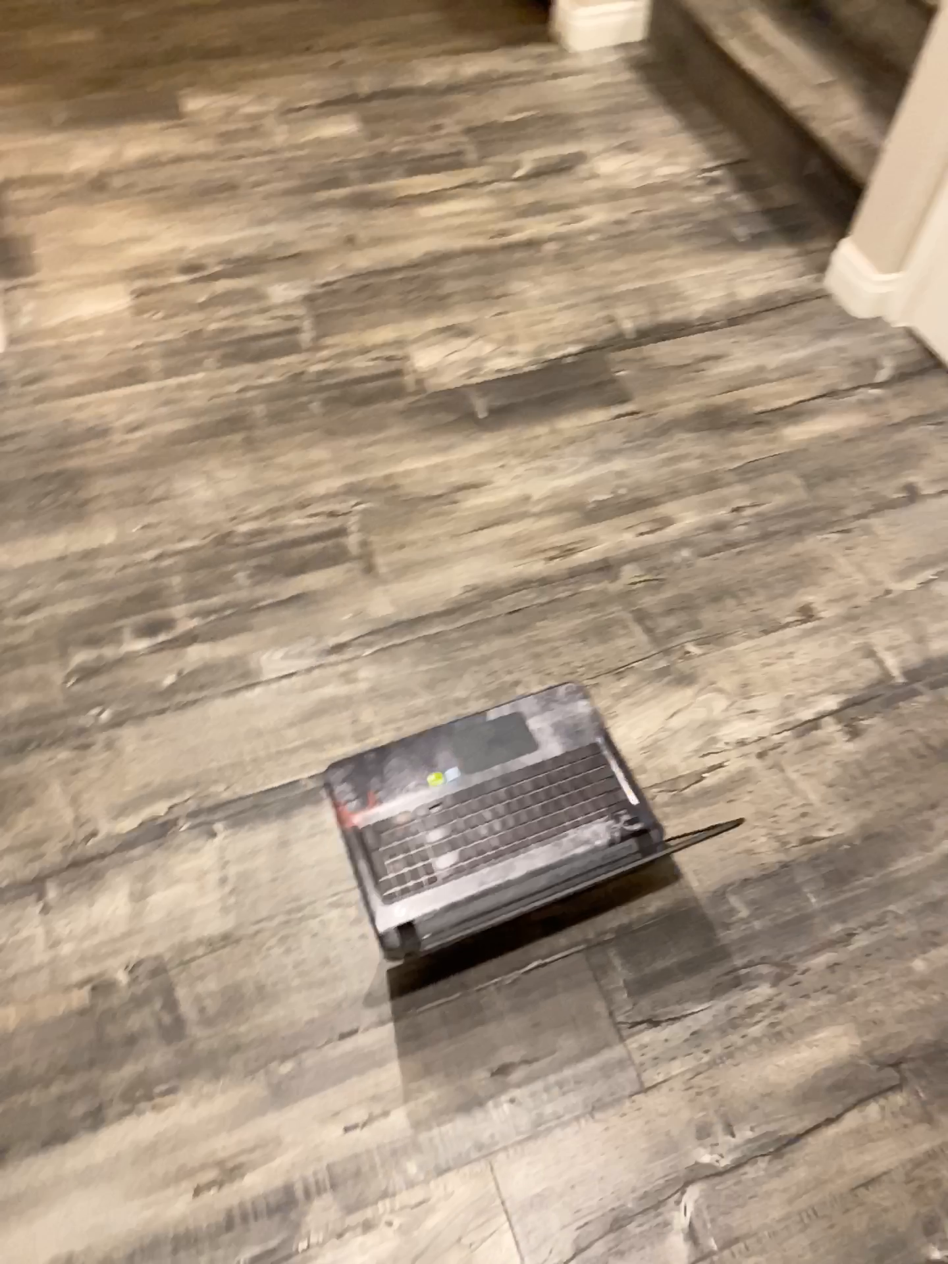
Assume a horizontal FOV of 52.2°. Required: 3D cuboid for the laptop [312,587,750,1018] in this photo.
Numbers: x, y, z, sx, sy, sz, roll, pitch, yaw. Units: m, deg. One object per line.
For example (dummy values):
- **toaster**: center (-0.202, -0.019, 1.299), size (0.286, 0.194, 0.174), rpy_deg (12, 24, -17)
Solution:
- **laptop**: center (0.046, 0.188, 1.126), size (0.371, 0.225, 0.328), rpy_deg (-17, 57, -15)
